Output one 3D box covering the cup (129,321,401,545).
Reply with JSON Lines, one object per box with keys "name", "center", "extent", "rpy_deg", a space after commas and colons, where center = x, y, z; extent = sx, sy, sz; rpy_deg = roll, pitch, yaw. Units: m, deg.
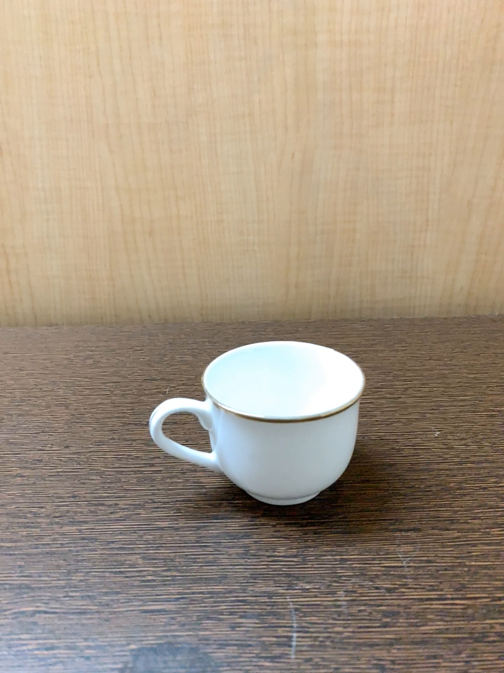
{"name": "cup", "center": [0.000, 0.032, 0.205], "extent": [0.090, 0.050, 0.060], "rpy_deg": [-6, 23, -12]}
